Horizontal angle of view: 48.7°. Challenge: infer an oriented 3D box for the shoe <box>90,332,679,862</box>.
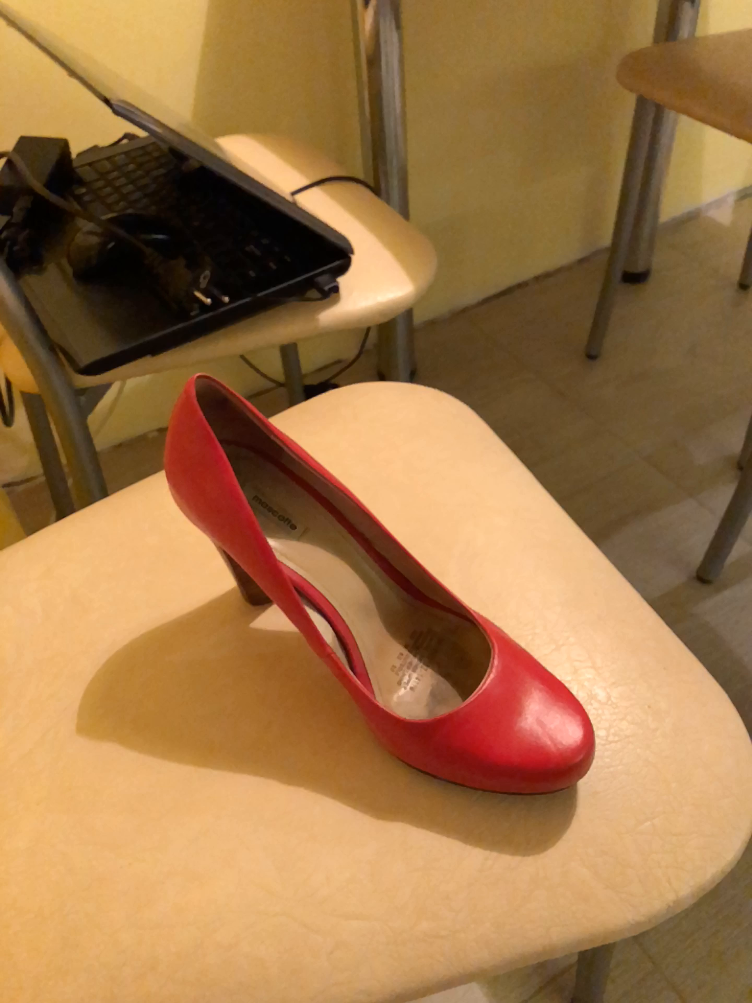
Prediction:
[{"bbox_3d":[-0.004,0.034,0.372,0.230,0.129,0.080,27,53,27],"label":"shoe"}]
